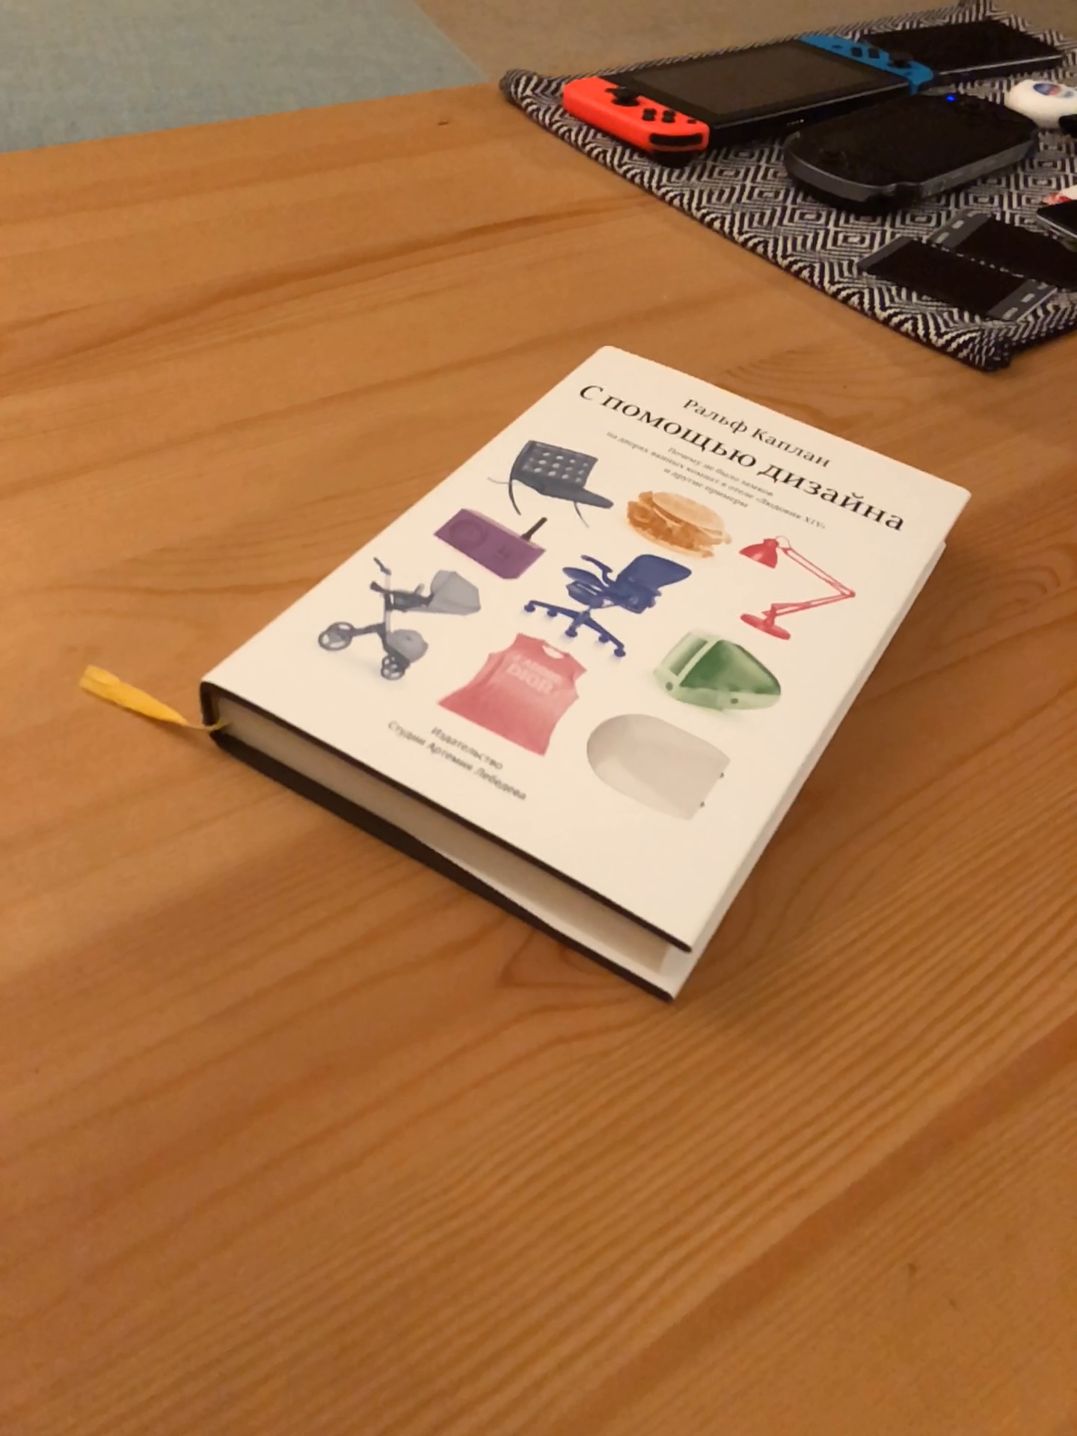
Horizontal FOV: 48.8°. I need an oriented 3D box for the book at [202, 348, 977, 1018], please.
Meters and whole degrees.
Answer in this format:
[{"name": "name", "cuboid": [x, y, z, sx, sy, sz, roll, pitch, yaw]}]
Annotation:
[{"name": "book", "cuboid": [0.030, -0.034, 0.385, 0.152, 0.034, 0.227, 27, 49, 18]}]
